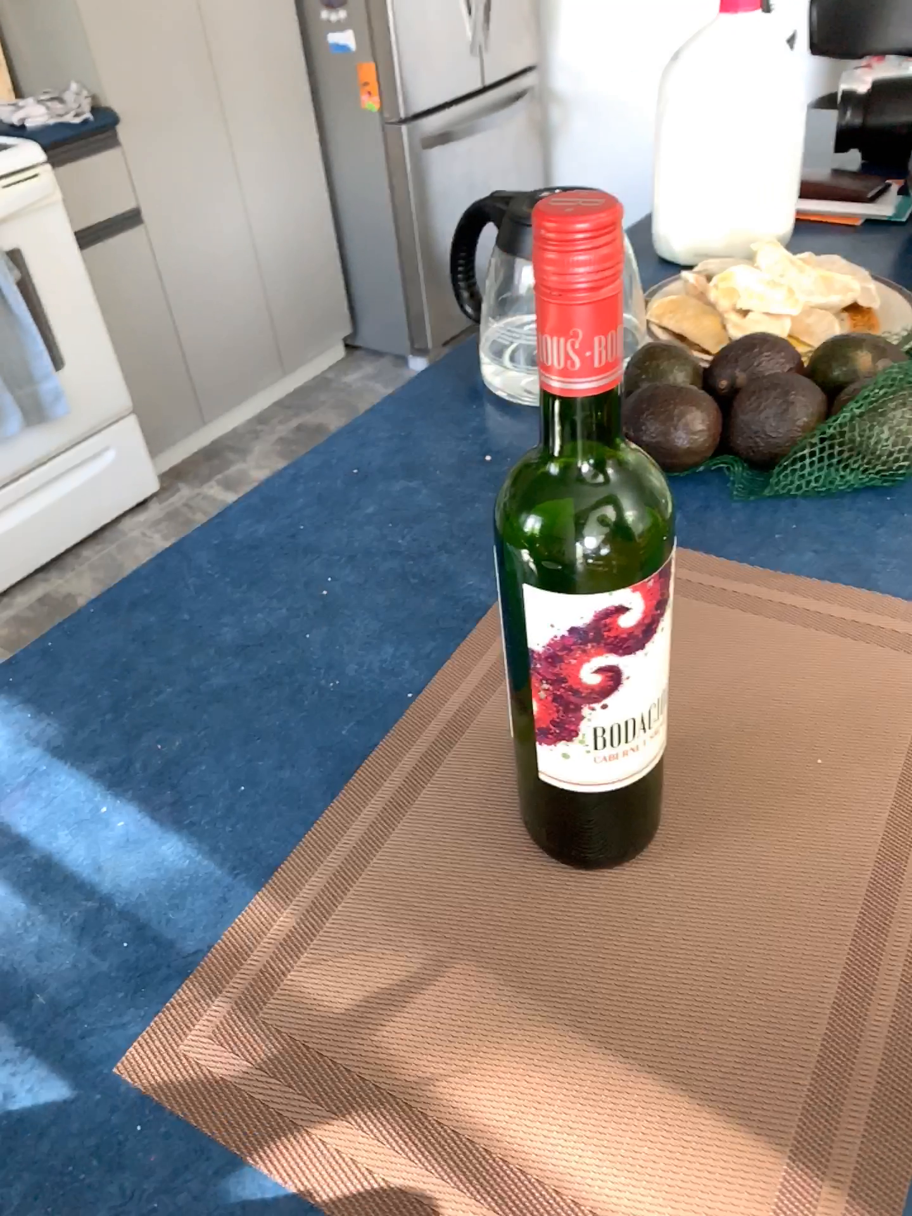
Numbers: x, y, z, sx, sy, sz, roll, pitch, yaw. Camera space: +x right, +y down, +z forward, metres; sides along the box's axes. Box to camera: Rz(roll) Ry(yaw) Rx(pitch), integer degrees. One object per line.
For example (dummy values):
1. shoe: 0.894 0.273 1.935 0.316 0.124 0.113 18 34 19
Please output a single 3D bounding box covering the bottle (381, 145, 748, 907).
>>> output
1. bottle: 0.048 -0.014 0.383 0.080 0.297 0.080 -5 39 4
